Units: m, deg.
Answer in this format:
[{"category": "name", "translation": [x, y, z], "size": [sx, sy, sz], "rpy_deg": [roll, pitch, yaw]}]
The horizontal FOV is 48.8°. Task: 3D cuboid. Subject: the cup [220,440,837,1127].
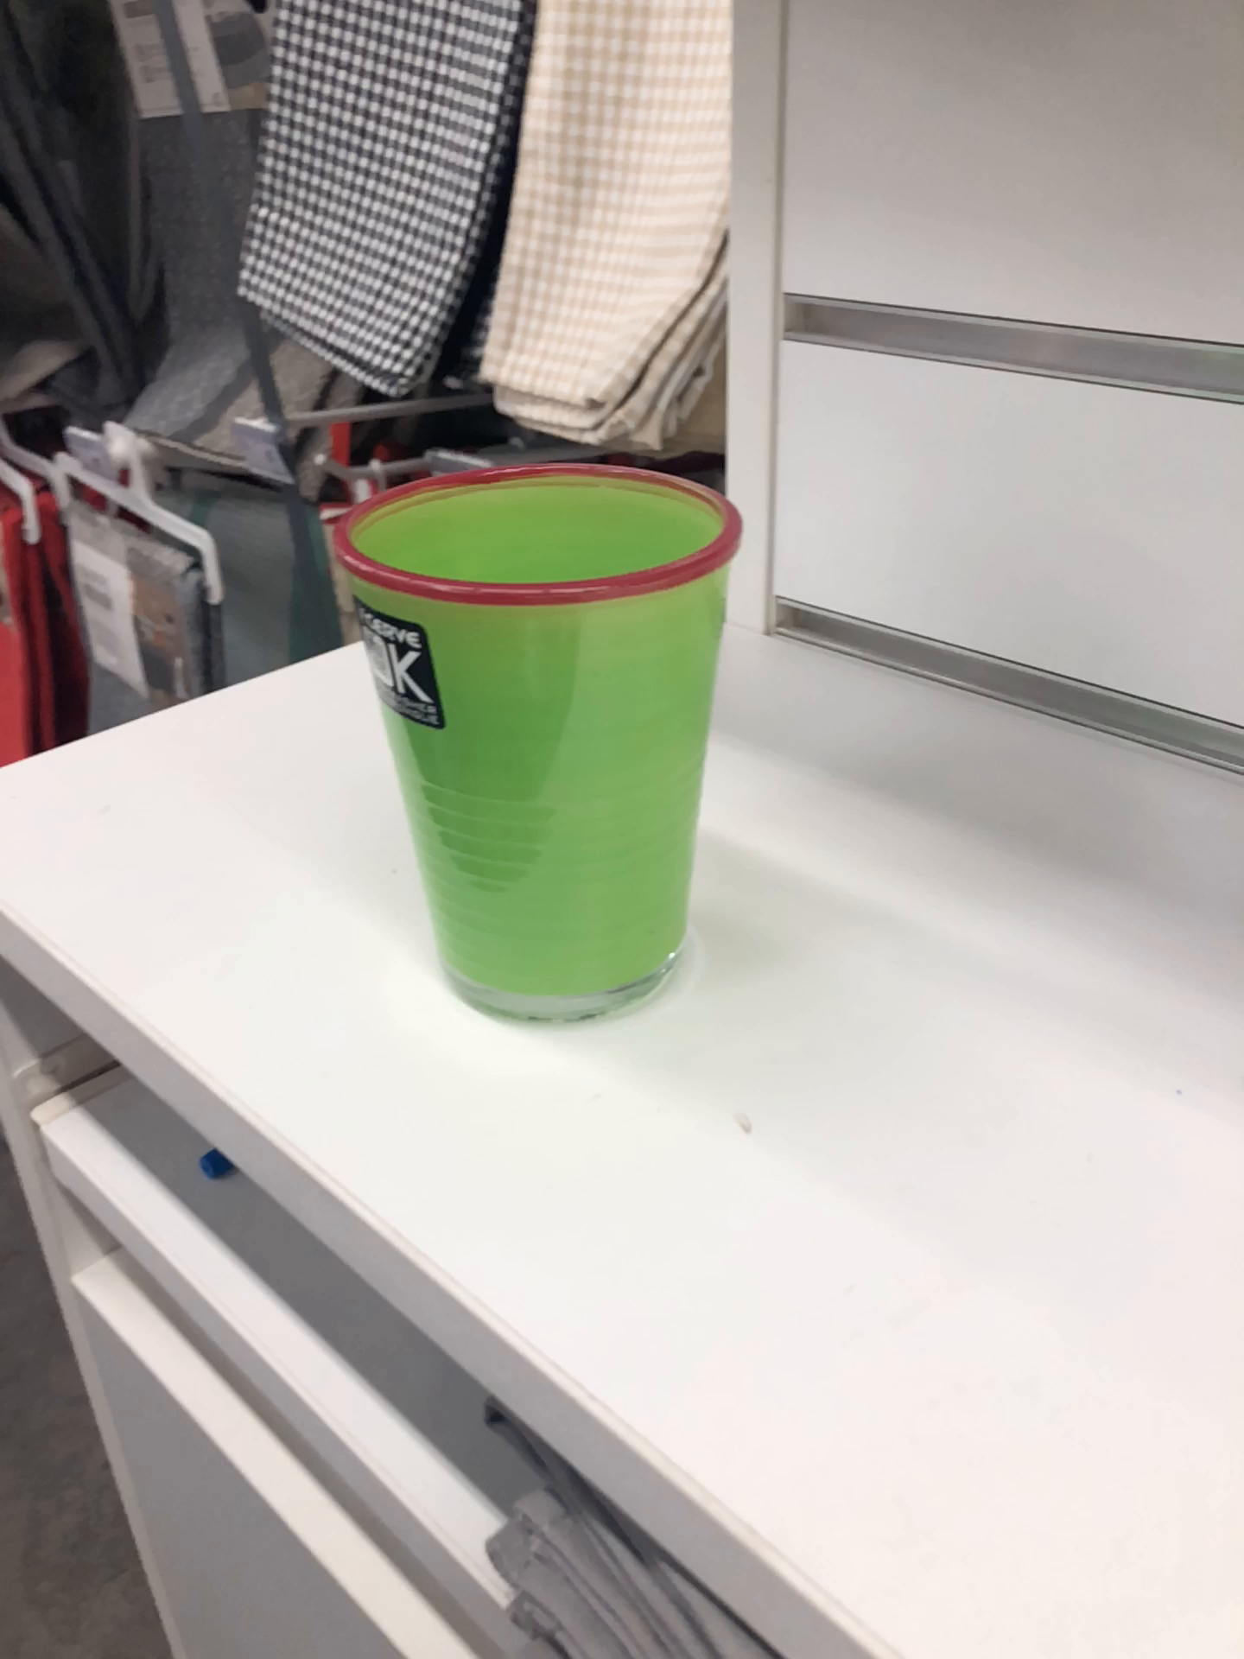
[{"category": "cup", "translation": [-0.018, -0.017, 0.283], "size": [0.083, 0.098, 0.086], "rpy_deg": [-2, 28, 1]}]
